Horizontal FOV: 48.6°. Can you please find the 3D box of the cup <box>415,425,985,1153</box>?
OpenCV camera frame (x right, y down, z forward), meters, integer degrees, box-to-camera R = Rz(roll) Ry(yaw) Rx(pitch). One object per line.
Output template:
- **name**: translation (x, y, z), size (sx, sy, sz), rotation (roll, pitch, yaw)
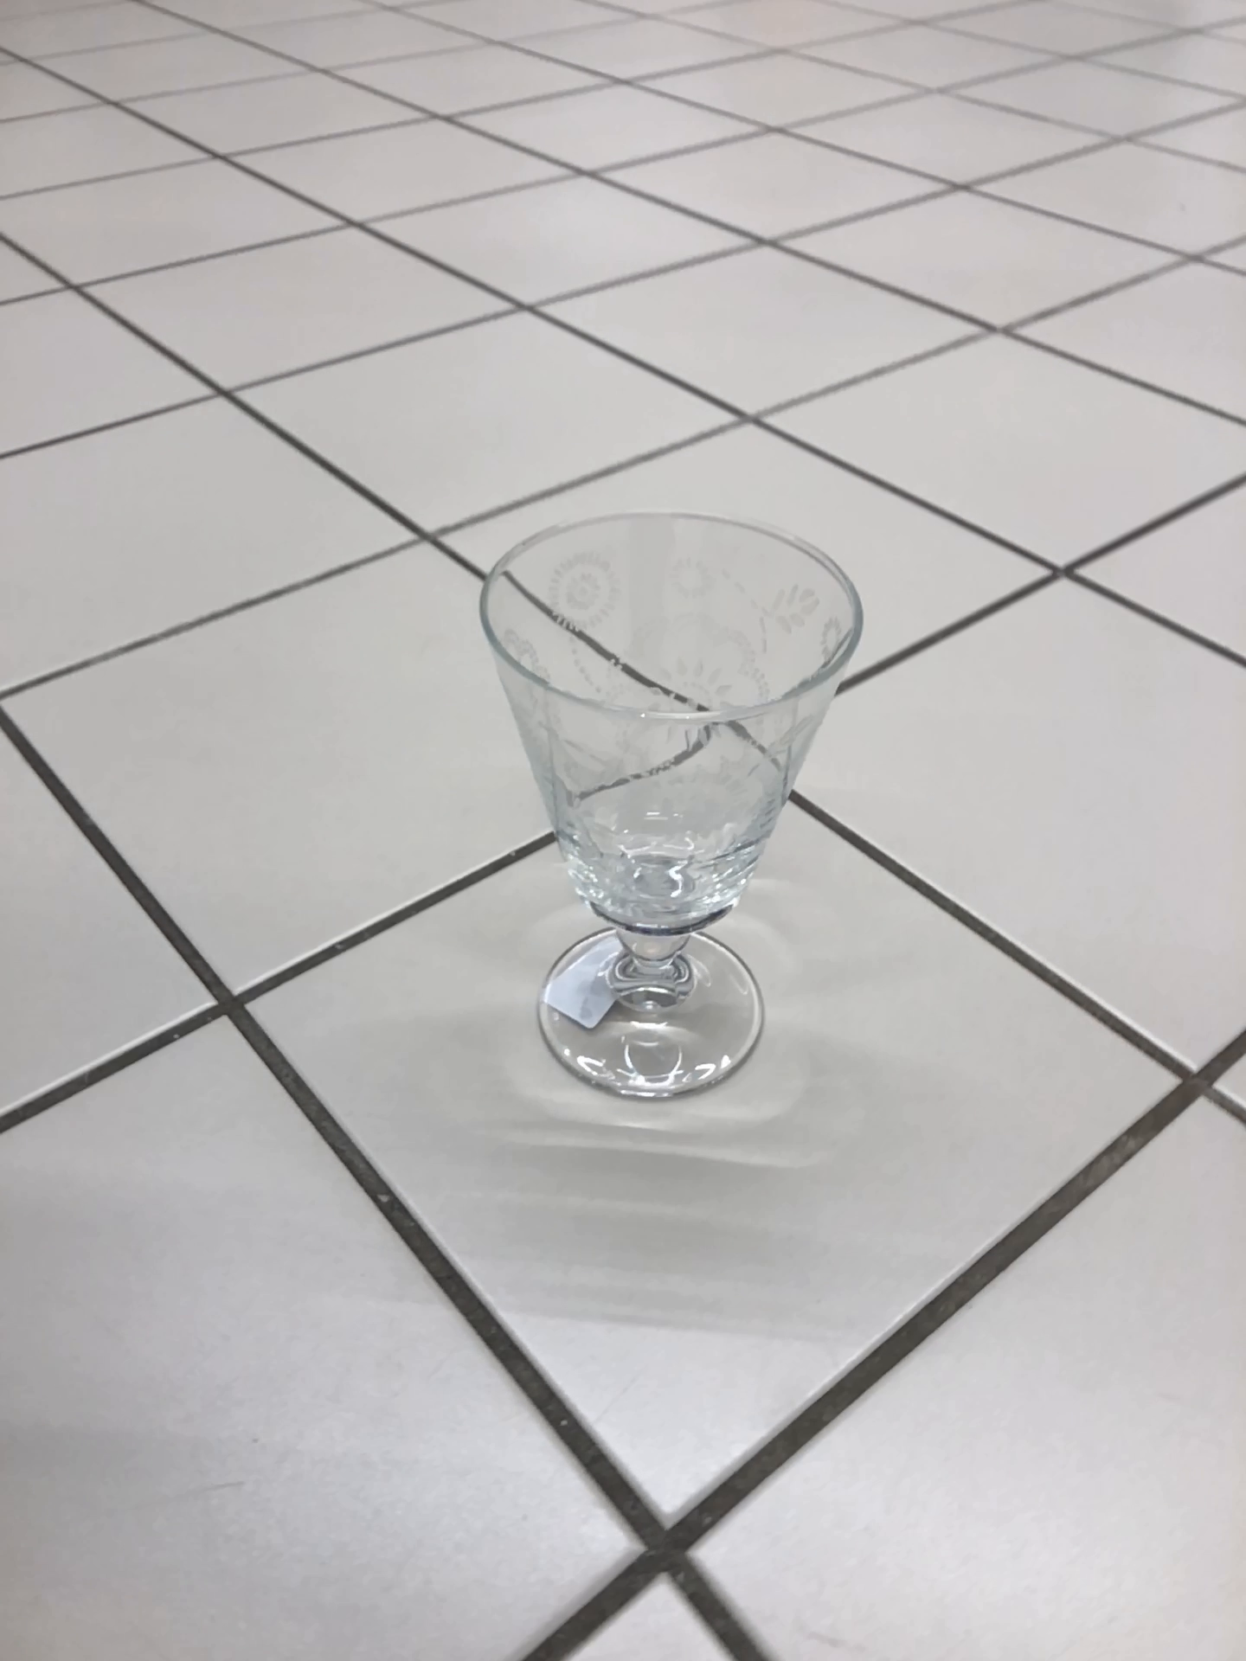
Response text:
- **cup**: translation (0.014, -0.012, 0.356), size (0.094, 0.138, 0.096), rotation (0, 41, 0)
